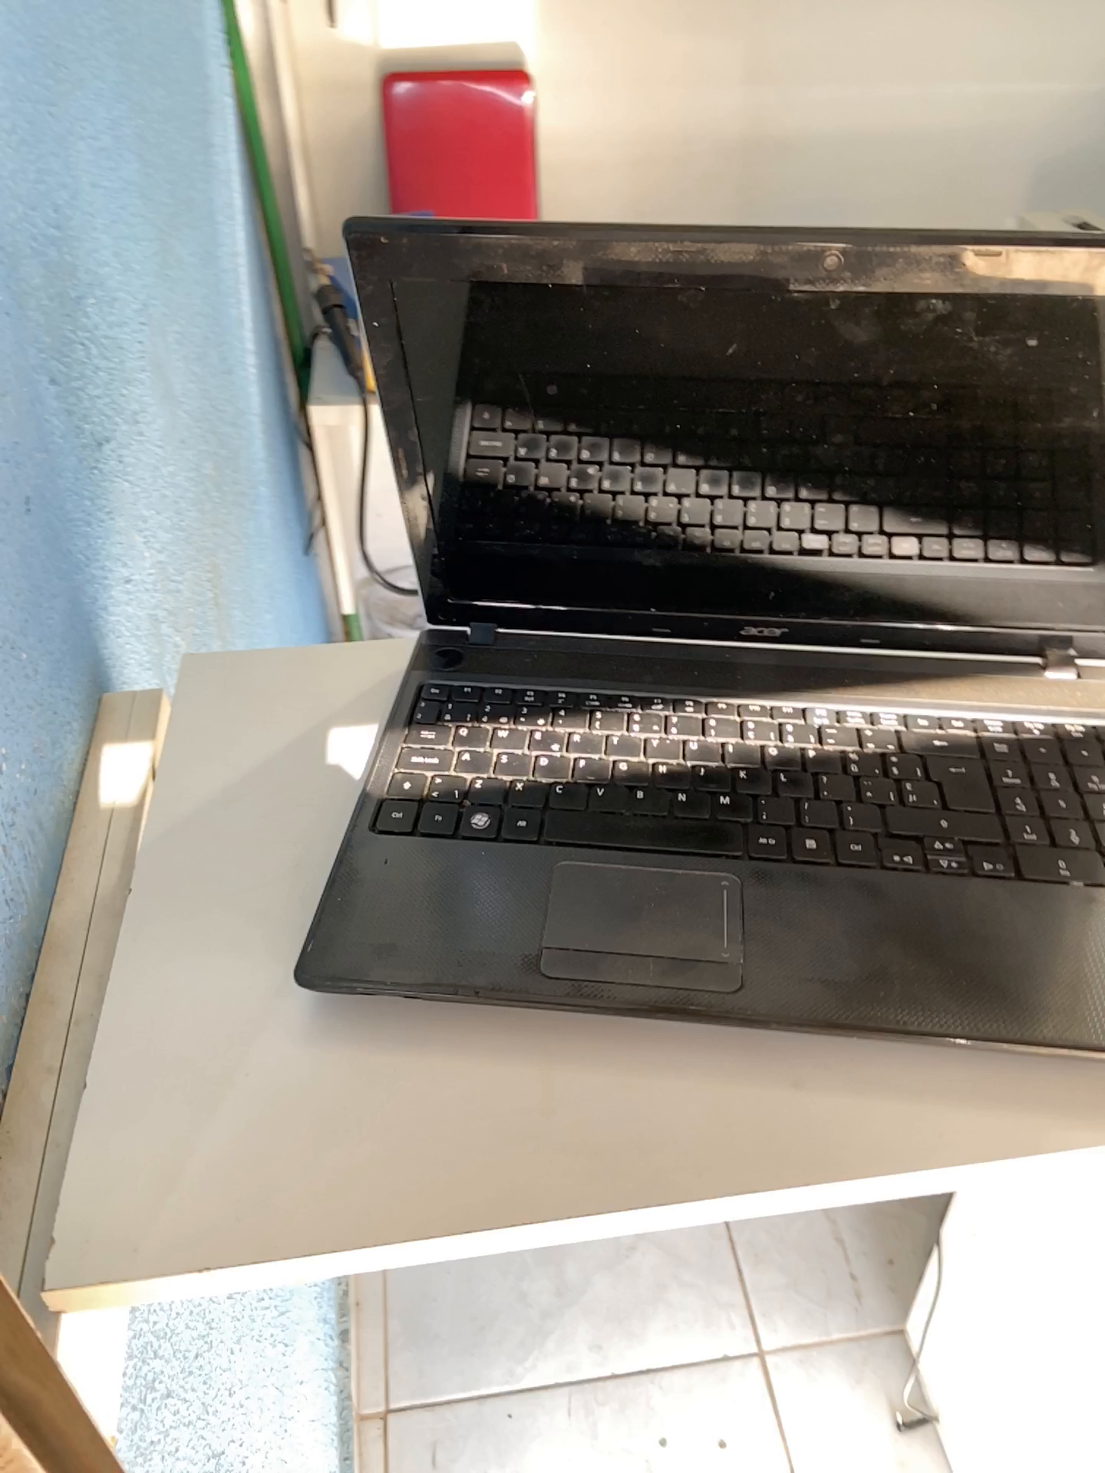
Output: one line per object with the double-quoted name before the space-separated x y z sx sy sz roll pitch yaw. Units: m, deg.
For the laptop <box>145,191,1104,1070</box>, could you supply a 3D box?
"laptop" 0.092 -0.061 0.458 0.374 0.234 0.255 3 38 6
